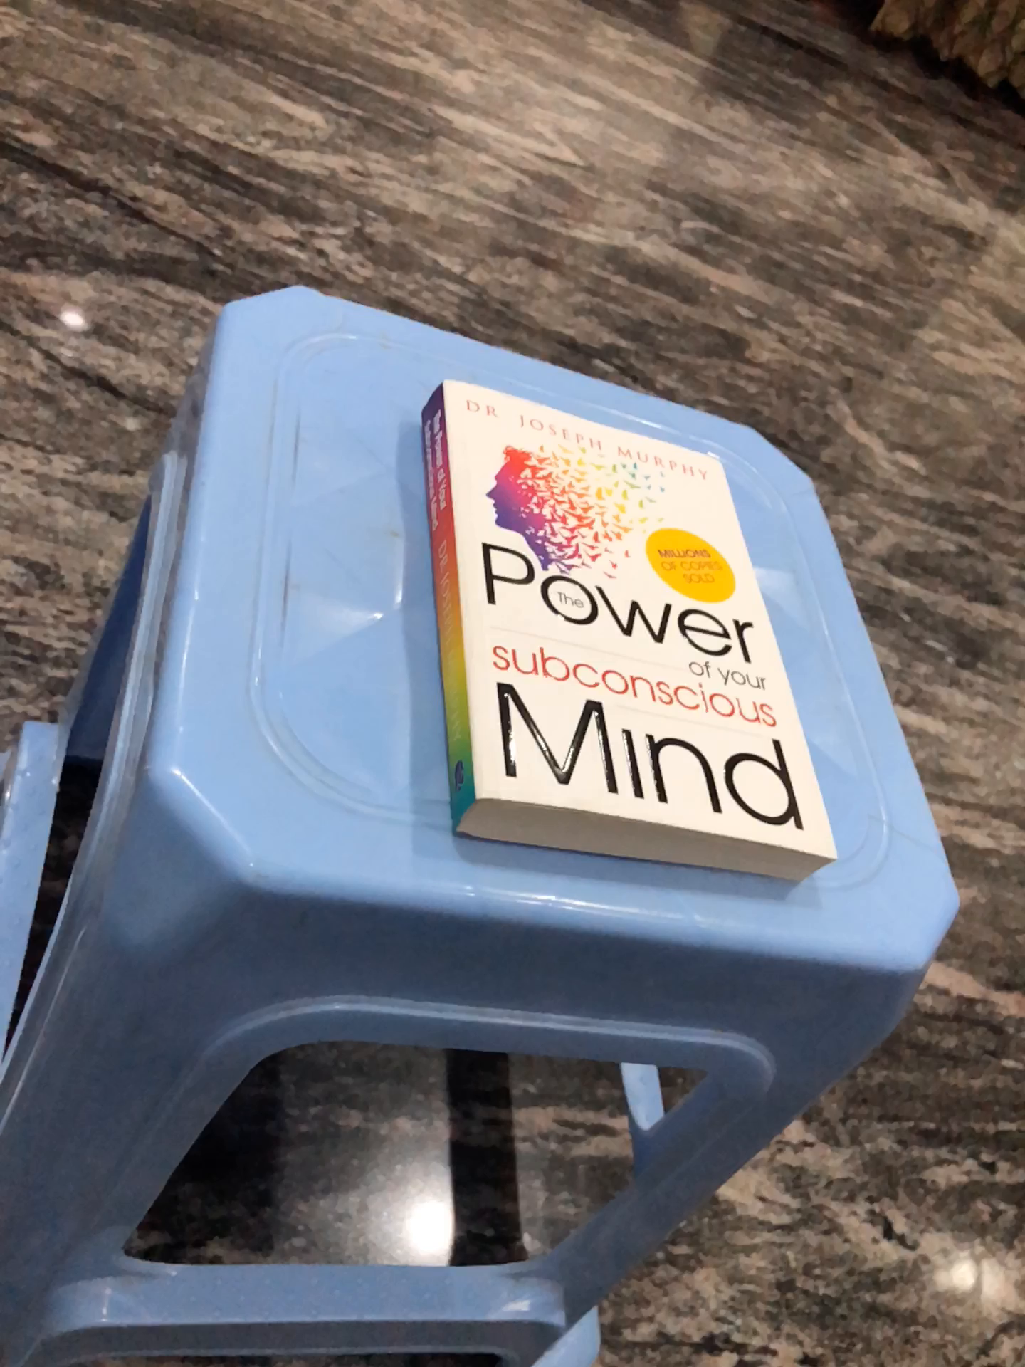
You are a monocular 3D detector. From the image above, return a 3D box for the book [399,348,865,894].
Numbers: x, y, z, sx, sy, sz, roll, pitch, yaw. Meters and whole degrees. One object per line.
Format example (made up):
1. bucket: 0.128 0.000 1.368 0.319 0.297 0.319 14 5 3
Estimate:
1. book: 0.034 -0.028 0.410 0.140 0.030 0.201 11 49 -21
